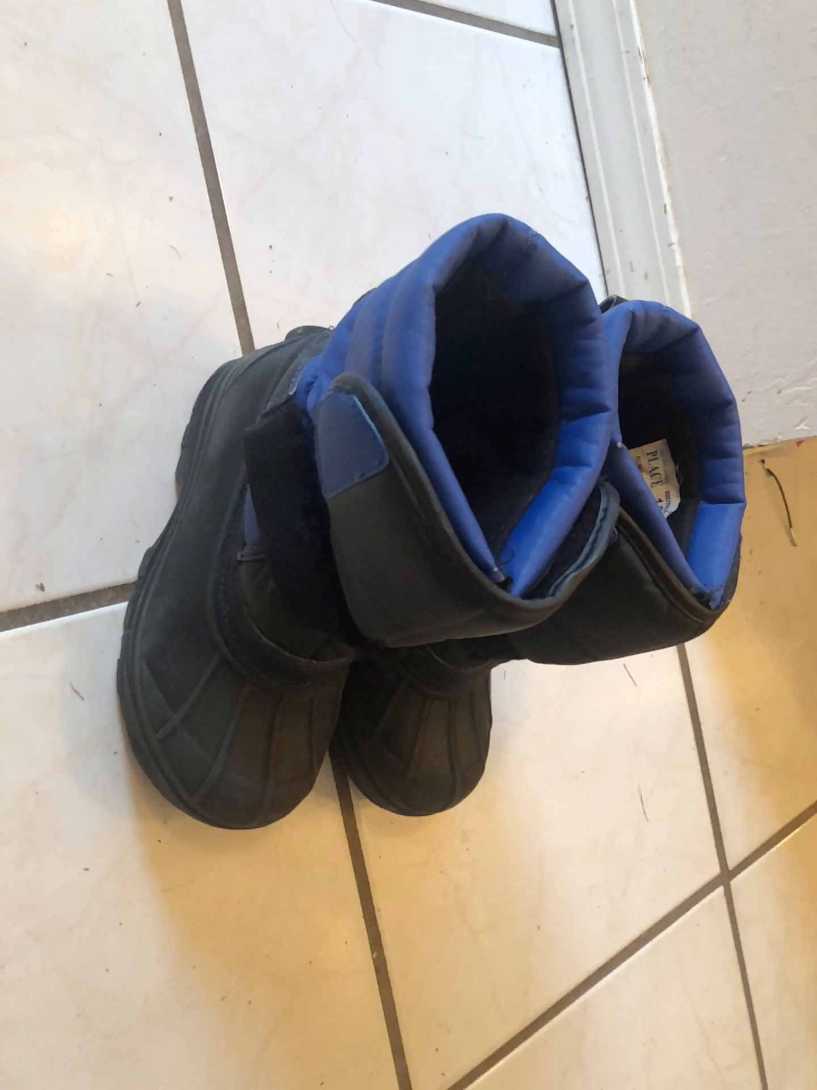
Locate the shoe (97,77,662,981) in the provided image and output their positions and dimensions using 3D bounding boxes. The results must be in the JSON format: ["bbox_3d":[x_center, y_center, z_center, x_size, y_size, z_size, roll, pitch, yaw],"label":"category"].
[{"bbox_3d":[-0.022,0.002,0.334,0.100,0.199,0.230,8,80,-38],"label":"shoe"}]

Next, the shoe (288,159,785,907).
[{"bbox_3d":[0.043,0.003,0.406,0.100,0.199,0.250,6,81,-39],"label":"shoe"}]
